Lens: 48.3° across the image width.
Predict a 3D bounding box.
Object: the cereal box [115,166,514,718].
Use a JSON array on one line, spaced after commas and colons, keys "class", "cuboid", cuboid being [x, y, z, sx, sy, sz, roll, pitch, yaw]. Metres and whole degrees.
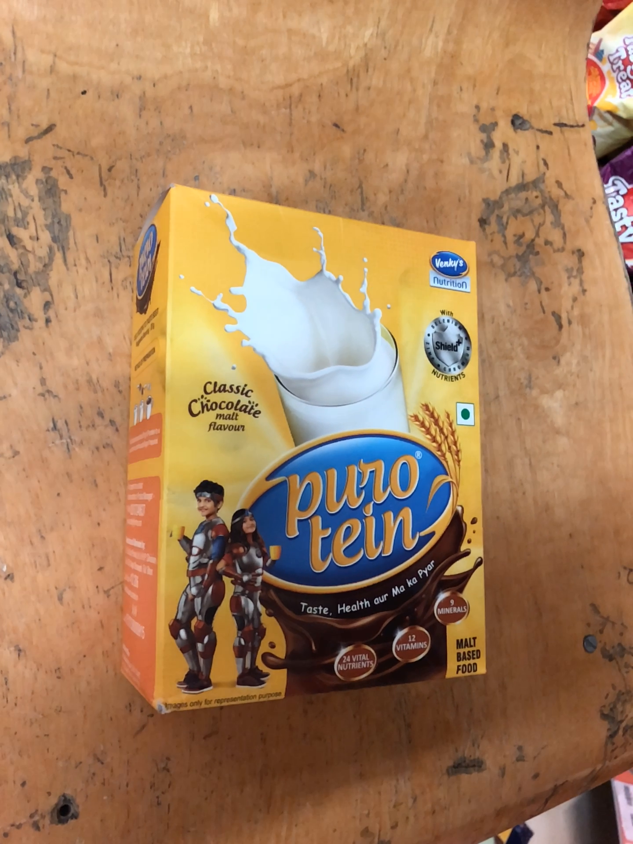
[{"class": "cereal box", "cuboid": [-0.002, 0.010, 0.293, 0.140, 0.080, 0.180, 4, 83, -23]}]
